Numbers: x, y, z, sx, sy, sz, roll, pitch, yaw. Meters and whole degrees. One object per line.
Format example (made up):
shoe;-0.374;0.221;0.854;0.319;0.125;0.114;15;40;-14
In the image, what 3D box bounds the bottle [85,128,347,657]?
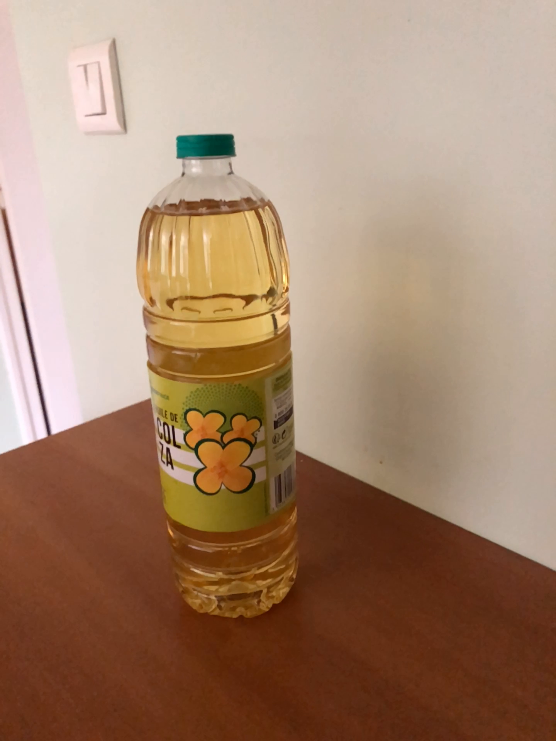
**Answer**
bottle;-0.023;0.009;0.349;0.090;0.269;0.090;-2;21;1
